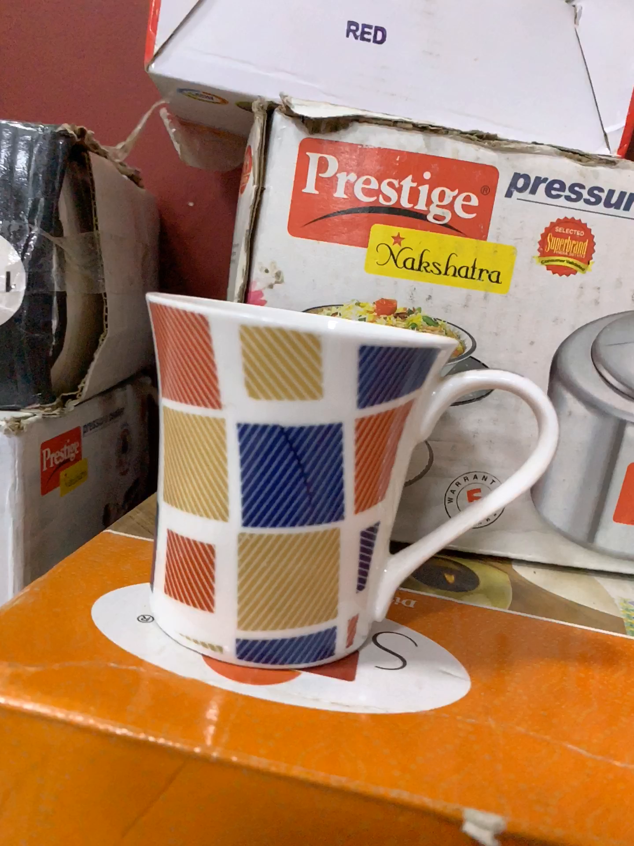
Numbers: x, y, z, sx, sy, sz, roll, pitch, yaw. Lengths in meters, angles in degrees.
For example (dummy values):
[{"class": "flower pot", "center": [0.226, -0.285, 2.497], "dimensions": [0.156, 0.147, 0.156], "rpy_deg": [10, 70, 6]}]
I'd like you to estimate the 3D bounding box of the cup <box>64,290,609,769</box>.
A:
[{"class": "cup", "center": [0.001, 0.019, 0.172], "dimensions": [0.100, 0.090, 0.070], "rpy_deg": [8, 11, -3]}]
